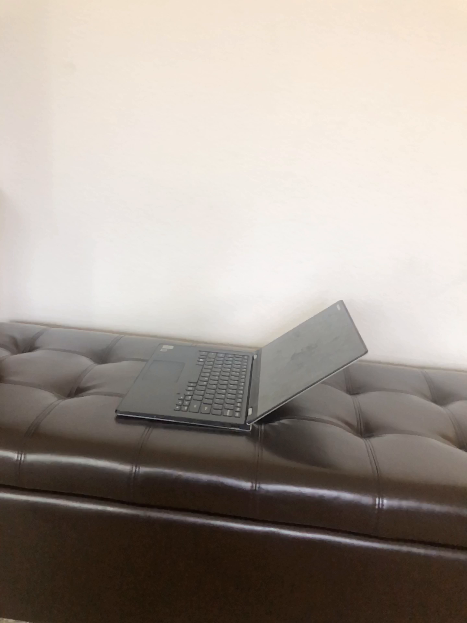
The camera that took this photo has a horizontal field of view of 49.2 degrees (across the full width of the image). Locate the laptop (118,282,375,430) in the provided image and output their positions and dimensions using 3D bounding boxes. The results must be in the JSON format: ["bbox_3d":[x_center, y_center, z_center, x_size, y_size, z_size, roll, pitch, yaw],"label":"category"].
[{"bbox_3d":[0.021,0.051,0.775,0.317,0.115,0.262,4,16,3],"label":"laptop"}]
